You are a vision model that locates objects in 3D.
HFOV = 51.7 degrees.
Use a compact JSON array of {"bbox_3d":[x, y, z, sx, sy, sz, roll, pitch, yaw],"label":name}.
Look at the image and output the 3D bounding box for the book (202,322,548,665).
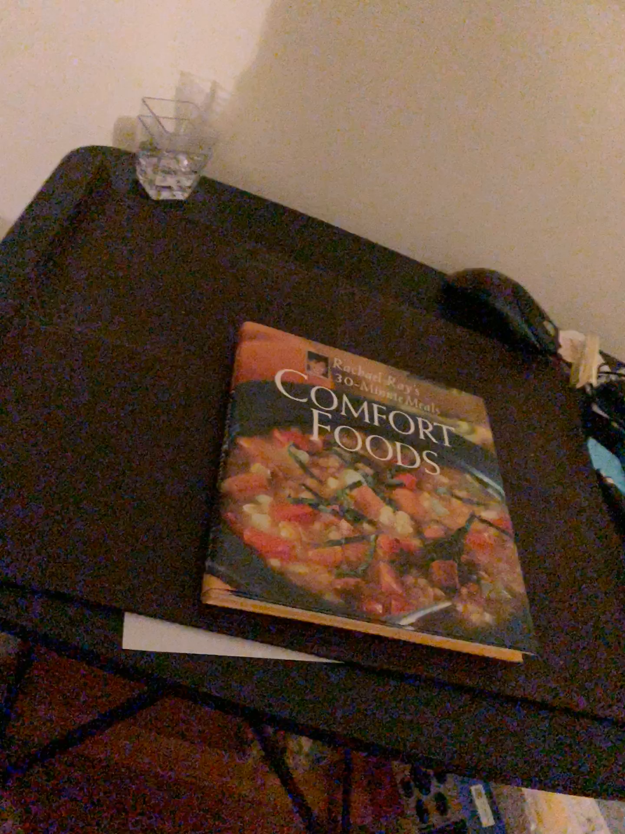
[{"bbox_3d":[0.040,0.041,0.416,0.200,0.020,0.201,16,46,-17],"label":"book"}]
